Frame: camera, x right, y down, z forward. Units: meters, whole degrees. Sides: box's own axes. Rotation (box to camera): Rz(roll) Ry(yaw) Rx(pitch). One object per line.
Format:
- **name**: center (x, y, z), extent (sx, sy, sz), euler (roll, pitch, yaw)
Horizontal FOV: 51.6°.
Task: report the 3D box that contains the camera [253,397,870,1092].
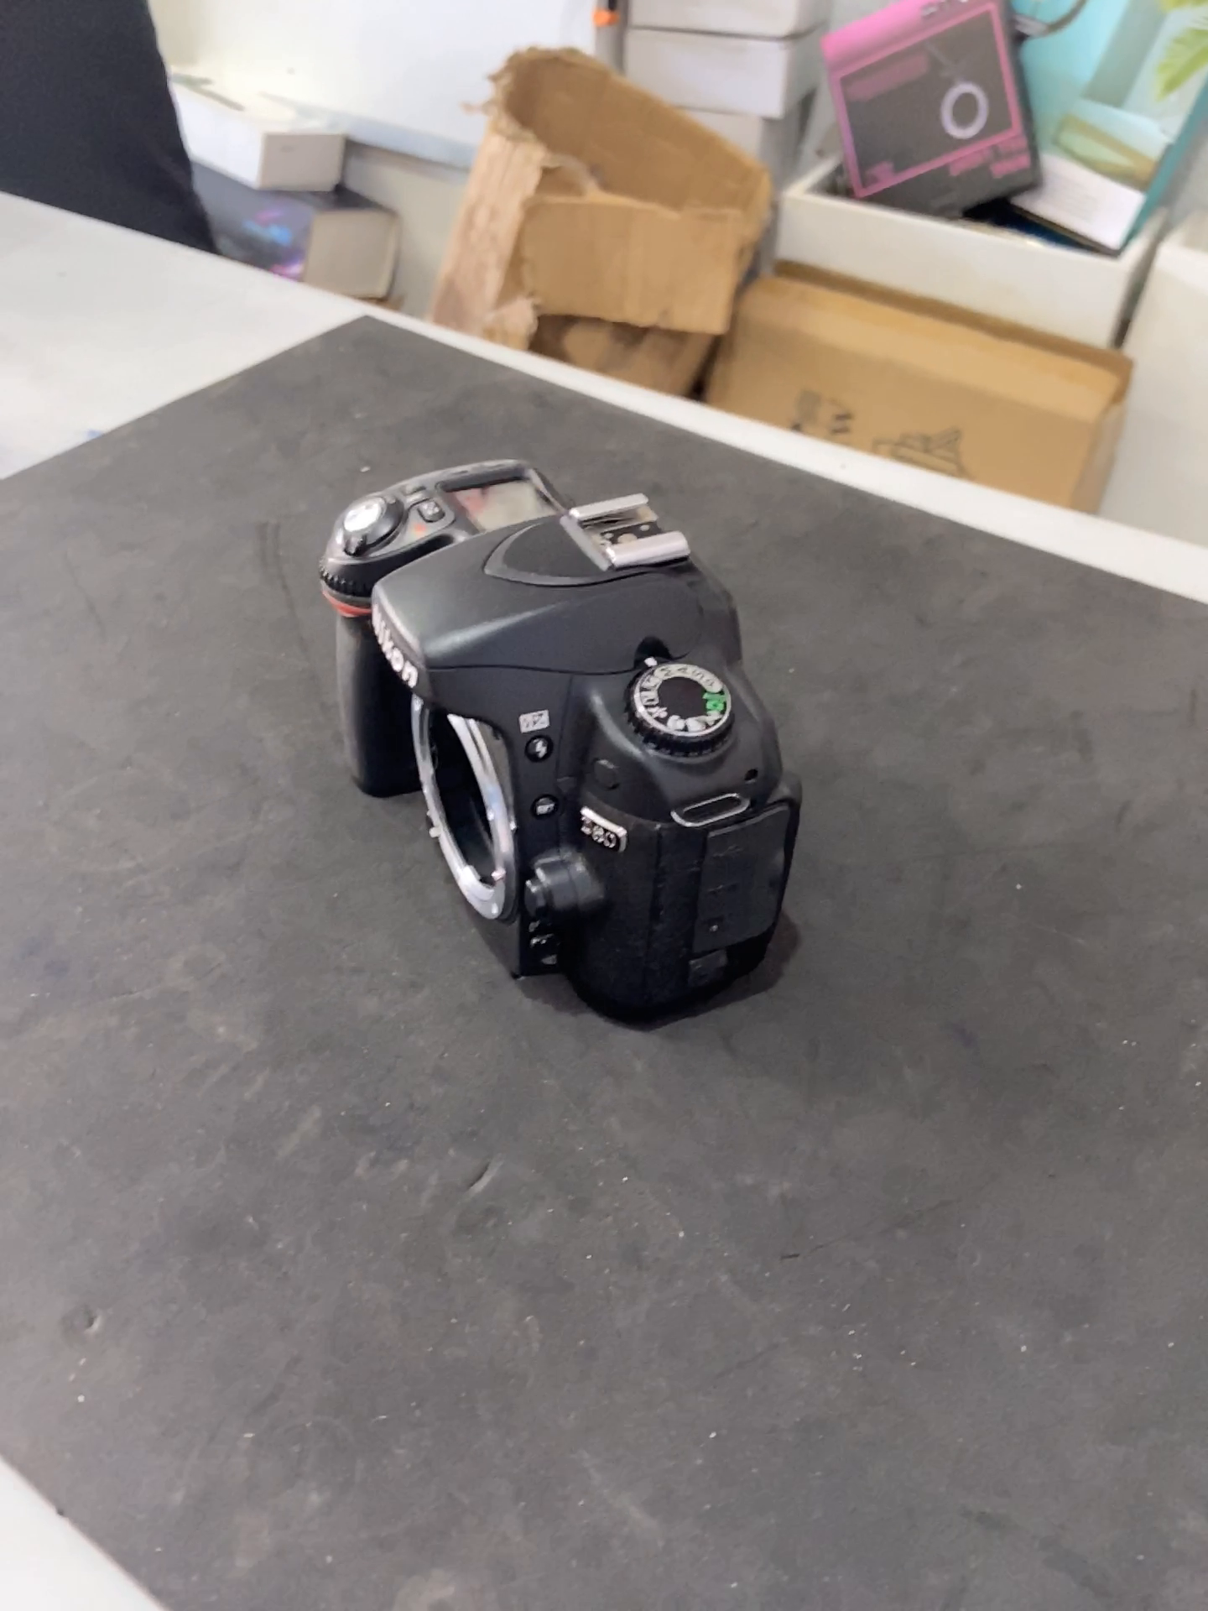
- **camera**: center (-0.018, -0.023, 0.305), extent (0.084, 0.088, 0.136), euler (-18, 46, -22)
